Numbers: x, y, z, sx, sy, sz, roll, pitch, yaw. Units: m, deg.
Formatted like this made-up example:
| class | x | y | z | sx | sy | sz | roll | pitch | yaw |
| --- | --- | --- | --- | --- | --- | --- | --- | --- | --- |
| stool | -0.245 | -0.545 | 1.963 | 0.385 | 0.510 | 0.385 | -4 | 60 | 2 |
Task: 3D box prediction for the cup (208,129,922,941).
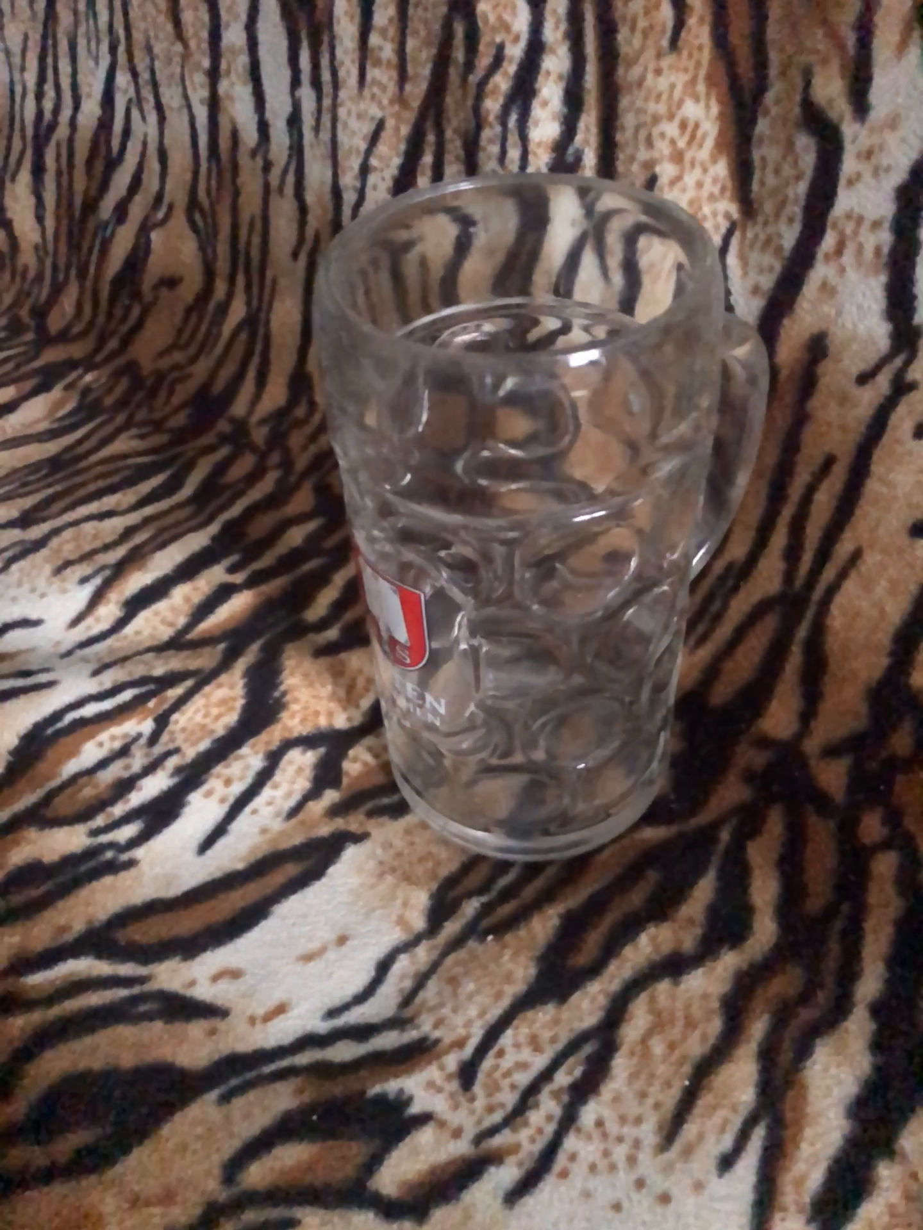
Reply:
| class | x | y | z | sx | sy | sz | roll | pitch | yaw |
| --- | --- | --- | --- | --- | --- | --- | --- | --- | --- |
| cup | 0.030 | -0.030 | 0.337 | 0.150 | 0.194 | 0.121 | -26 | 45 | -25 |
